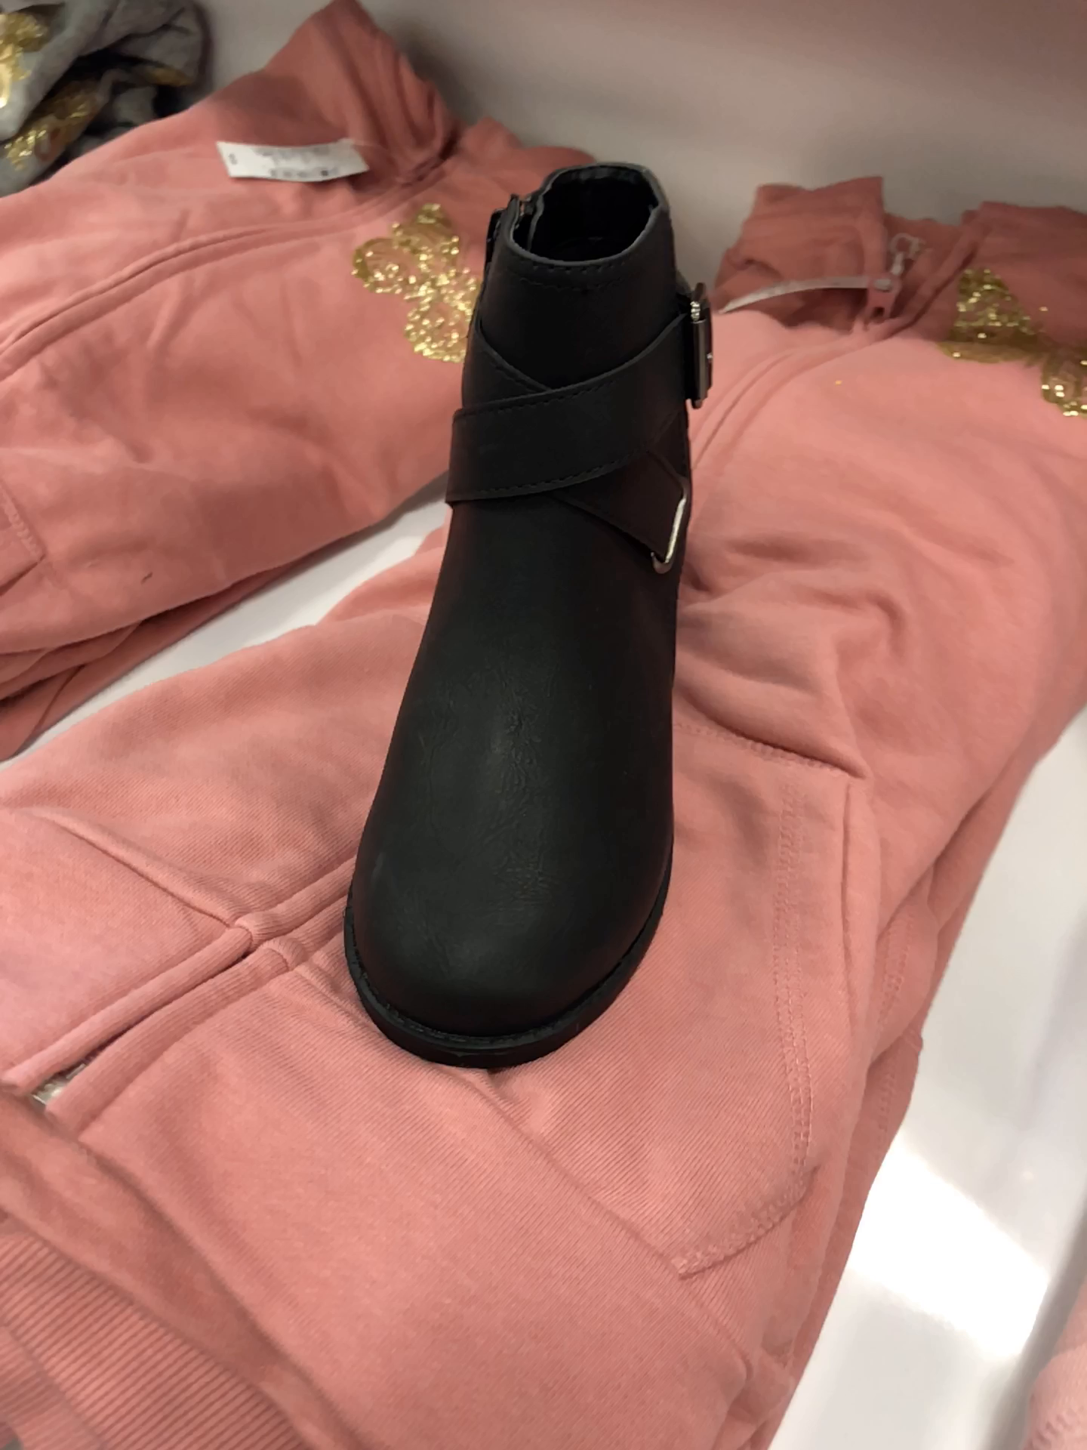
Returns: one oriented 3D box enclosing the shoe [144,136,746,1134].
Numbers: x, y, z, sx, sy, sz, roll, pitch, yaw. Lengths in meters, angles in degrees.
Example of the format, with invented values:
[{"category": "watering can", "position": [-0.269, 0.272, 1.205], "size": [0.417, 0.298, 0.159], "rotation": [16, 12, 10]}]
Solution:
[{"category": "shoe", "position": [-0.004, -0.035, 0.285], "size": [0.080, 0.129, 0.201], "rotation": [7, 43, 5]}]
